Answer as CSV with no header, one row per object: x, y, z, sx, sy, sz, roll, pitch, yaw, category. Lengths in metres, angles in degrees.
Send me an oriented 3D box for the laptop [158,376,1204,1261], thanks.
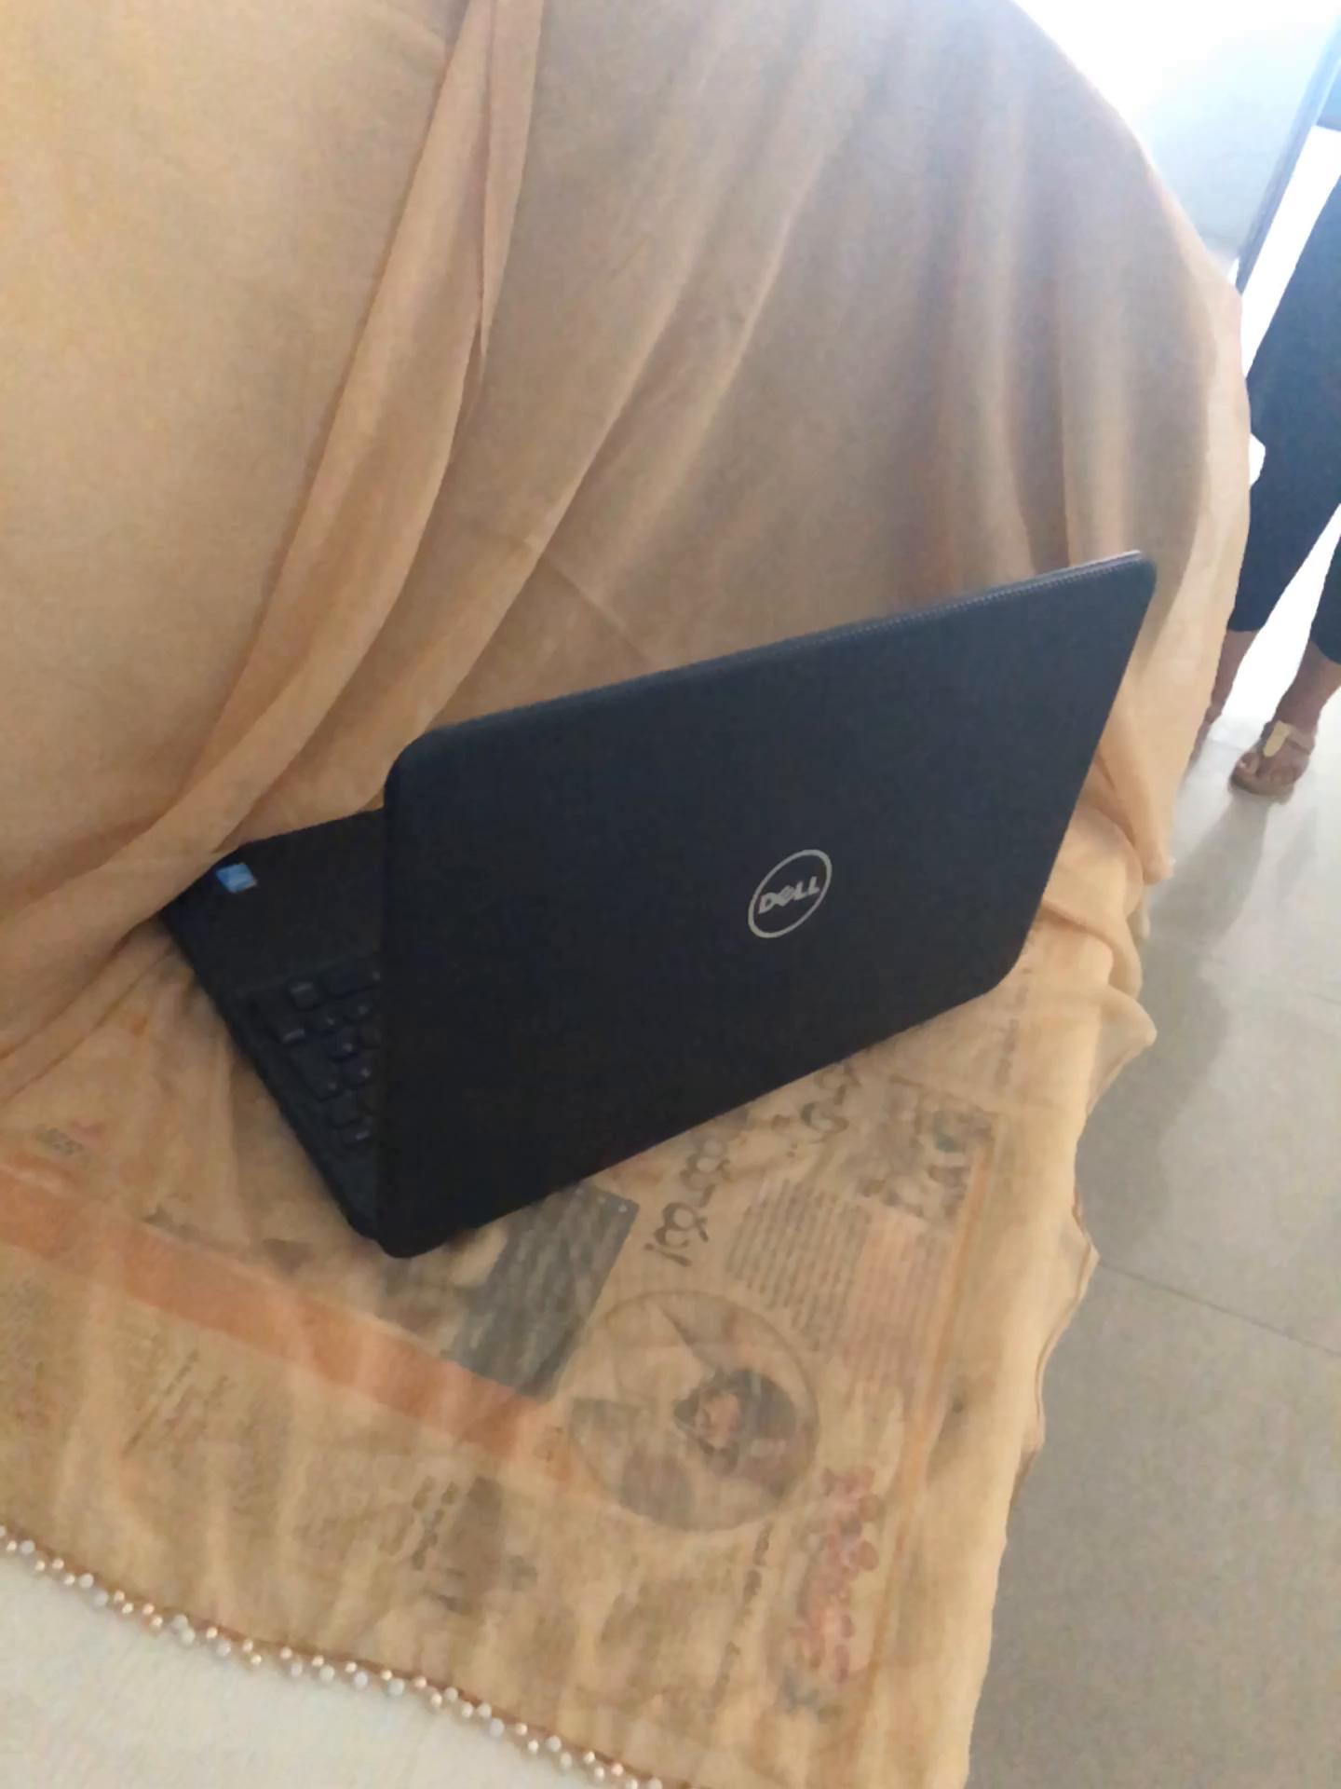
-0.011,-0.061,0.676,0.333,0.237,0.257,-20,47,-32,laptop
